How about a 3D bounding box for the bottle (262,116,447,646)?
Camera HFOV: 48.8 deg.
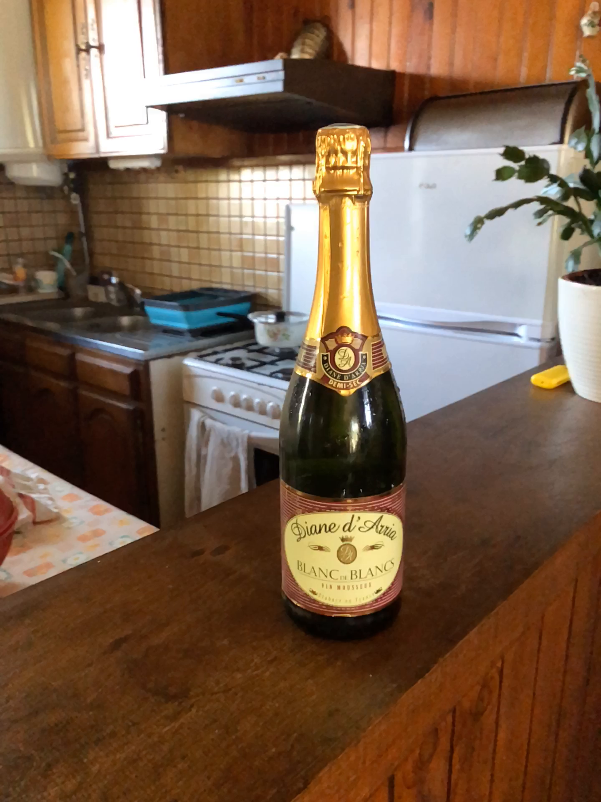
[{"bbox_3d":[0.031,-0.010,0.413,0.090,0.299,0.100,1,17,5],"label":"bottle"}]
